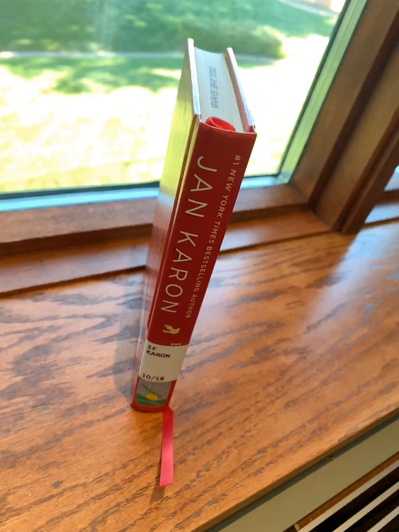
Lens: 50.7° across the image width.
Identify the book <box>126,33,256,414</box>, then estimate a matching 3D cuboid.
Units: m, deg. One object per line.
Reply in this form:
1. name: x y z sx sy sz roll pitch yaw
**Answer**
1. book: -0.013 -0.023 0.242 0.028 0.169 0.135 8 39 -8
